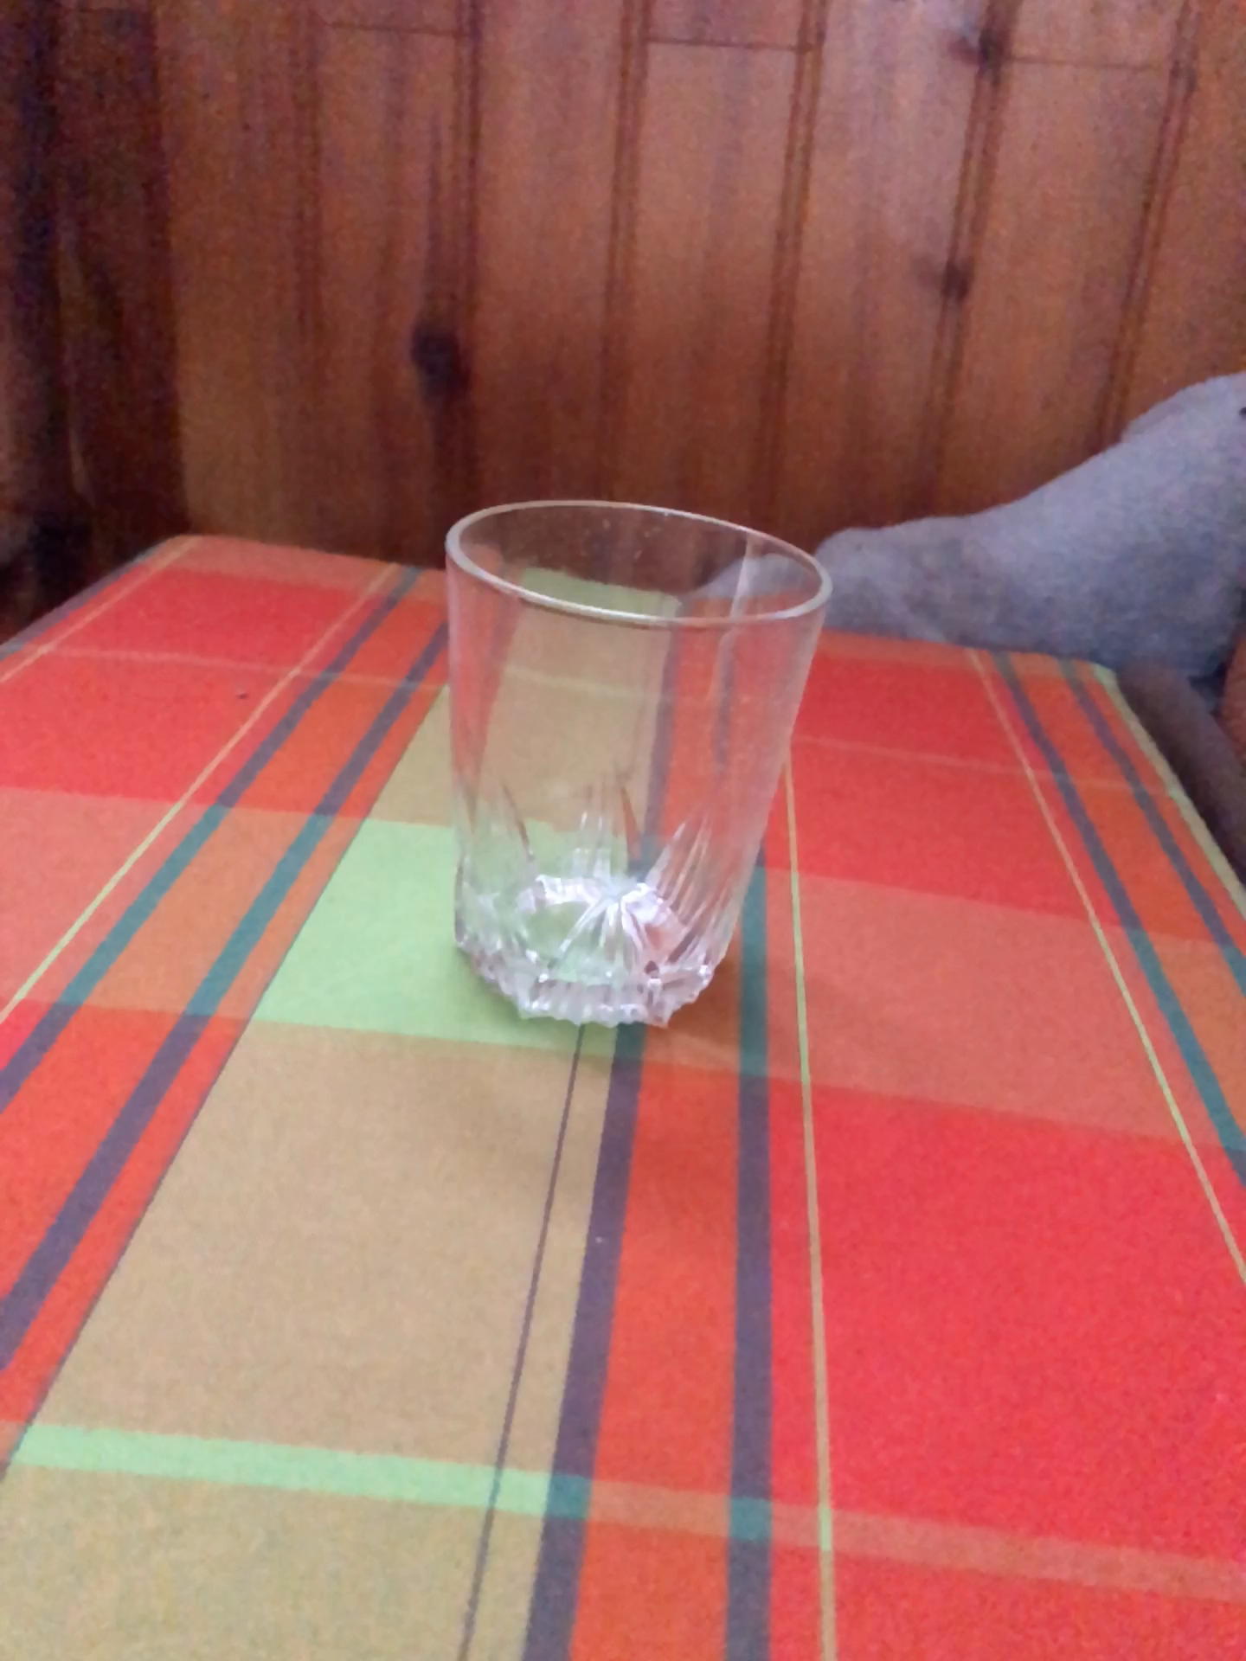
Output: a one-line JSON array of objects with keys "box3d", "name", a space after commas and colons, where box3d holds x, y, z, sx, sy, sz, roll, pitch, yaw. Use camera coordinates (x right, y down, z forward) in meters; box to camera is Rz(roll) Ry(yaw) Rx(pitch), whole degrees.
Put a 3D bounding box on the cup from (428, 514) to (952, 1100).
[{"box3d": [0.005, -0.009, 0.252, 0.070, 0.080, 0.070, 3, 26, -2], "name": "cup"}]
